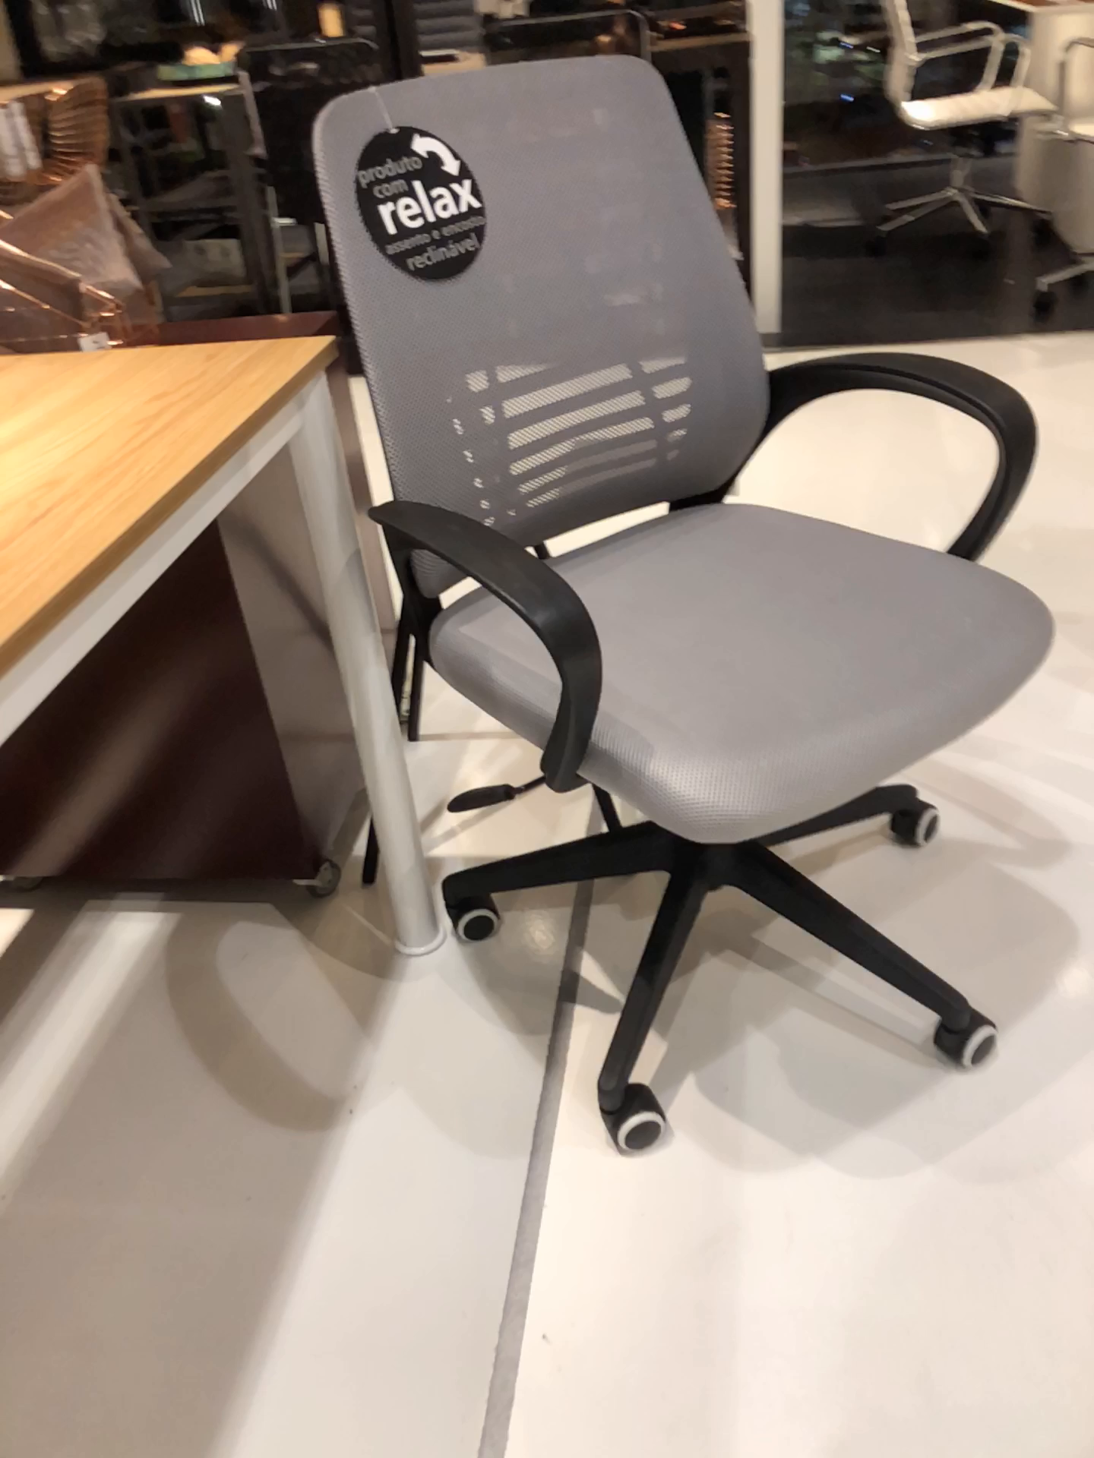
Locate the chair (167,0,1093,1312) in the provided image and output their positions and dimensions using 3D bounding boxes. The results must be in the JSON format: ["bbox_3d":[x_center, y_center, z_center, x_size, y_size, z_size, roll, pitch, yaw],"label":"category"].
[{"bbox_3d":[0.186,-0.150,1.116,0.662,0.854,0.663,-24,36,-26],"label":"chair"}]
